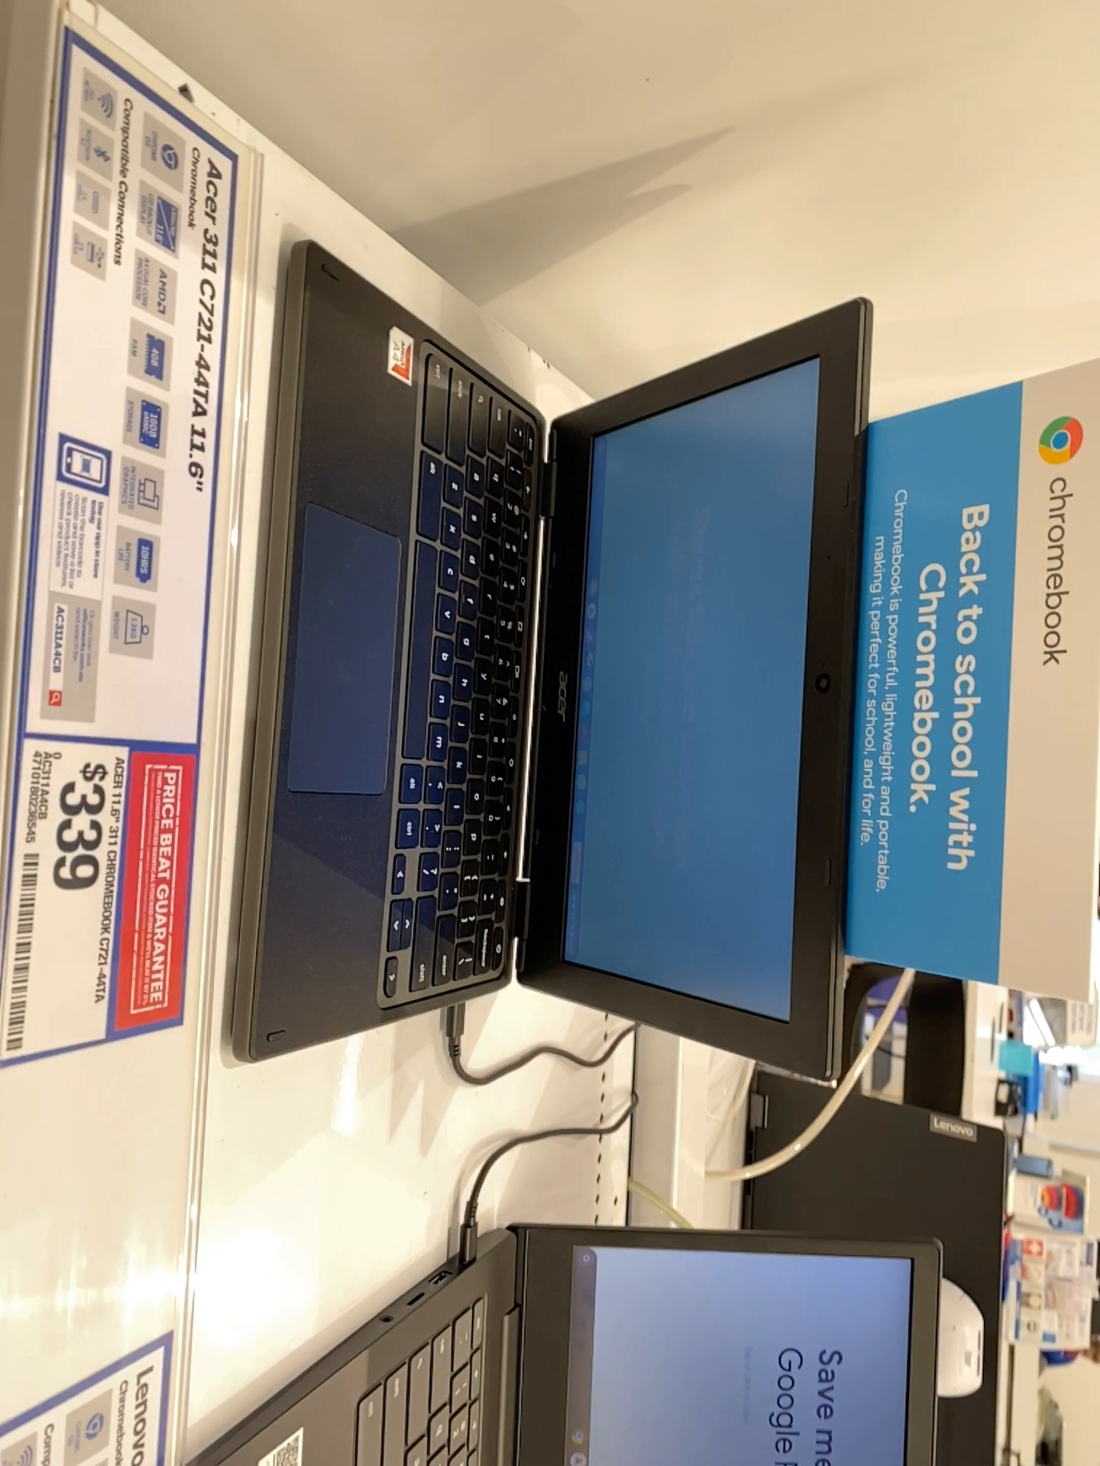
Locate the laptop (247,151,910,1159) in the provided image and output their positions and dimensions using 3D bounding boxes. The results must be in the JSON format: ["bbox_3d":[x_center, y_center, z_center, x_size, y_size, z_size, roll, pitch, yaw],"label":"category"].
[{"bbox_3d":[0.029,-0.022,0.451,0.202,0.181,0.289,9,84,-64],"label":"laptop"}]
